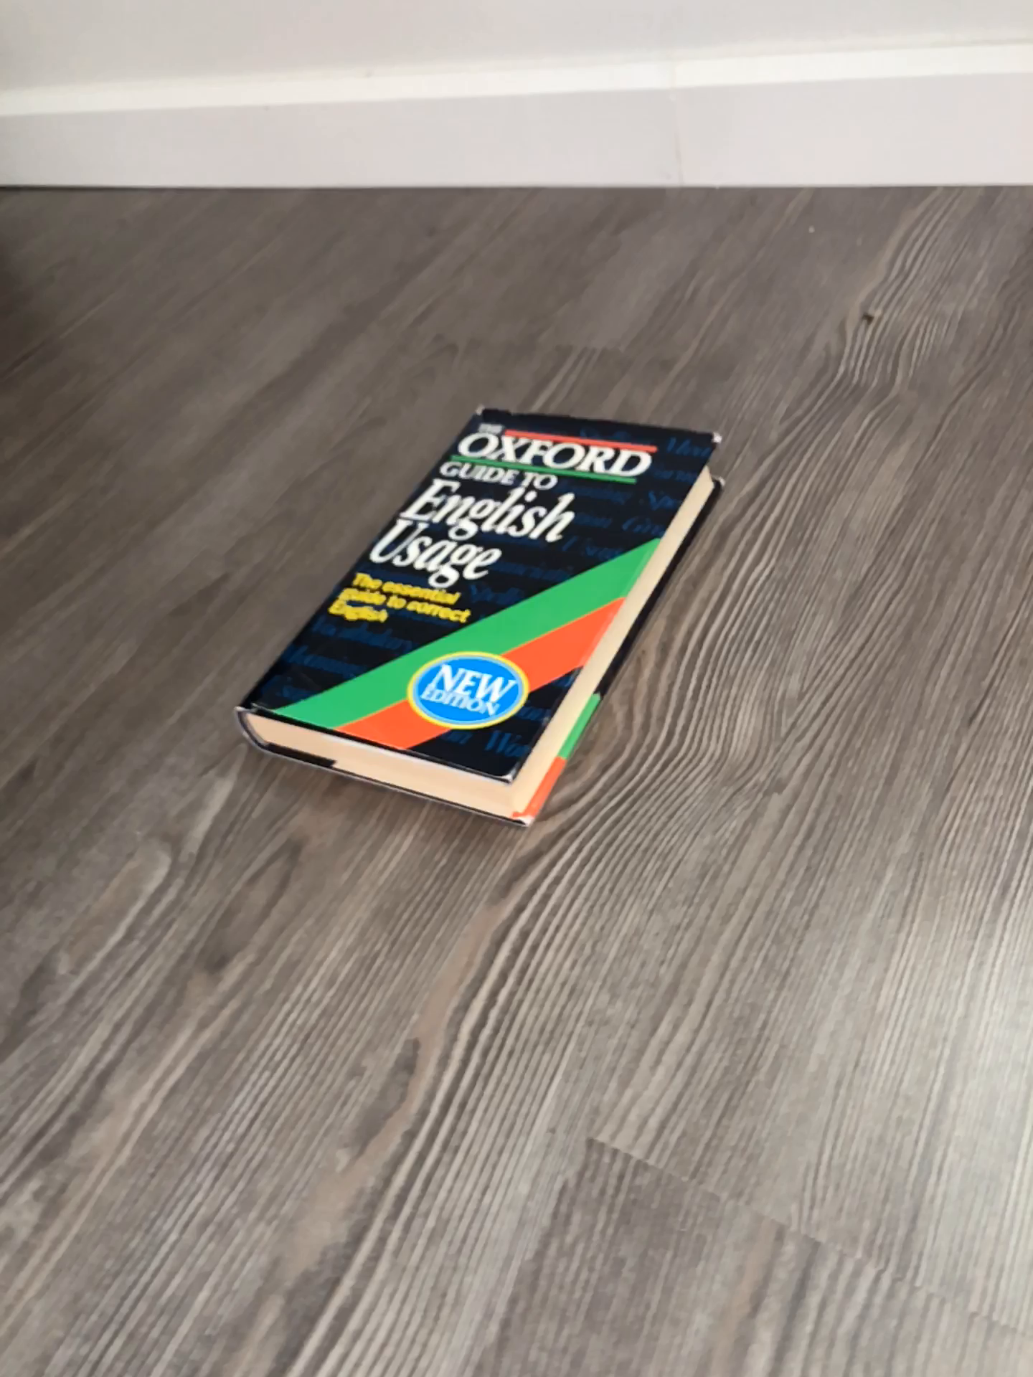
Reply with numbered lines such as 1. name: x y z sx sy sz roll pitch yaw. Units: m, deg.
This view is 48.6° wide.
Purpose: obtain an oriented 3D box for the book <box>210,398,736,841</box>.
1. book: -0.011 -0.049 0.533 0.150 0.035 0.231 13 52 28
